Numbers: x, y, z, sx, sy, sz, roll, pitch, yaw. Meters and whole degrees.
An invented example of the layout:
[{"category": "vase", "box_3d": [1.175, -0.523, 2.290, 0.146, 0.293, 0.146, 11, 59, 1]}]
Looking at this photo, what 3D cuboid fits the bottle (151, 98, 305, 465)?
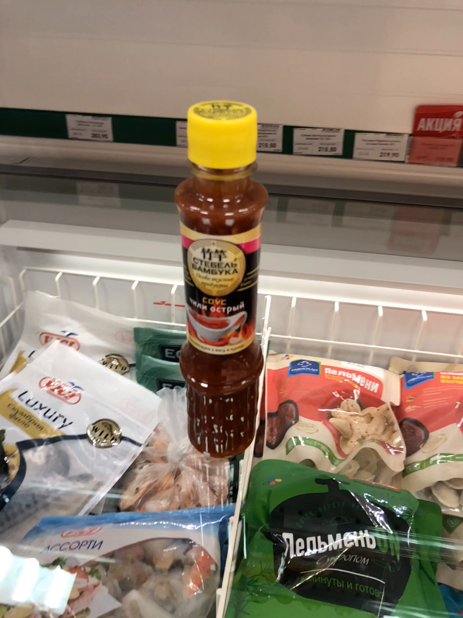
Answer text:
[{"category": "bottle", "box_3d": [0.000, -0.005, 0.286, 0.060, 0.199, 0.060, 1, 35, -1]}]
